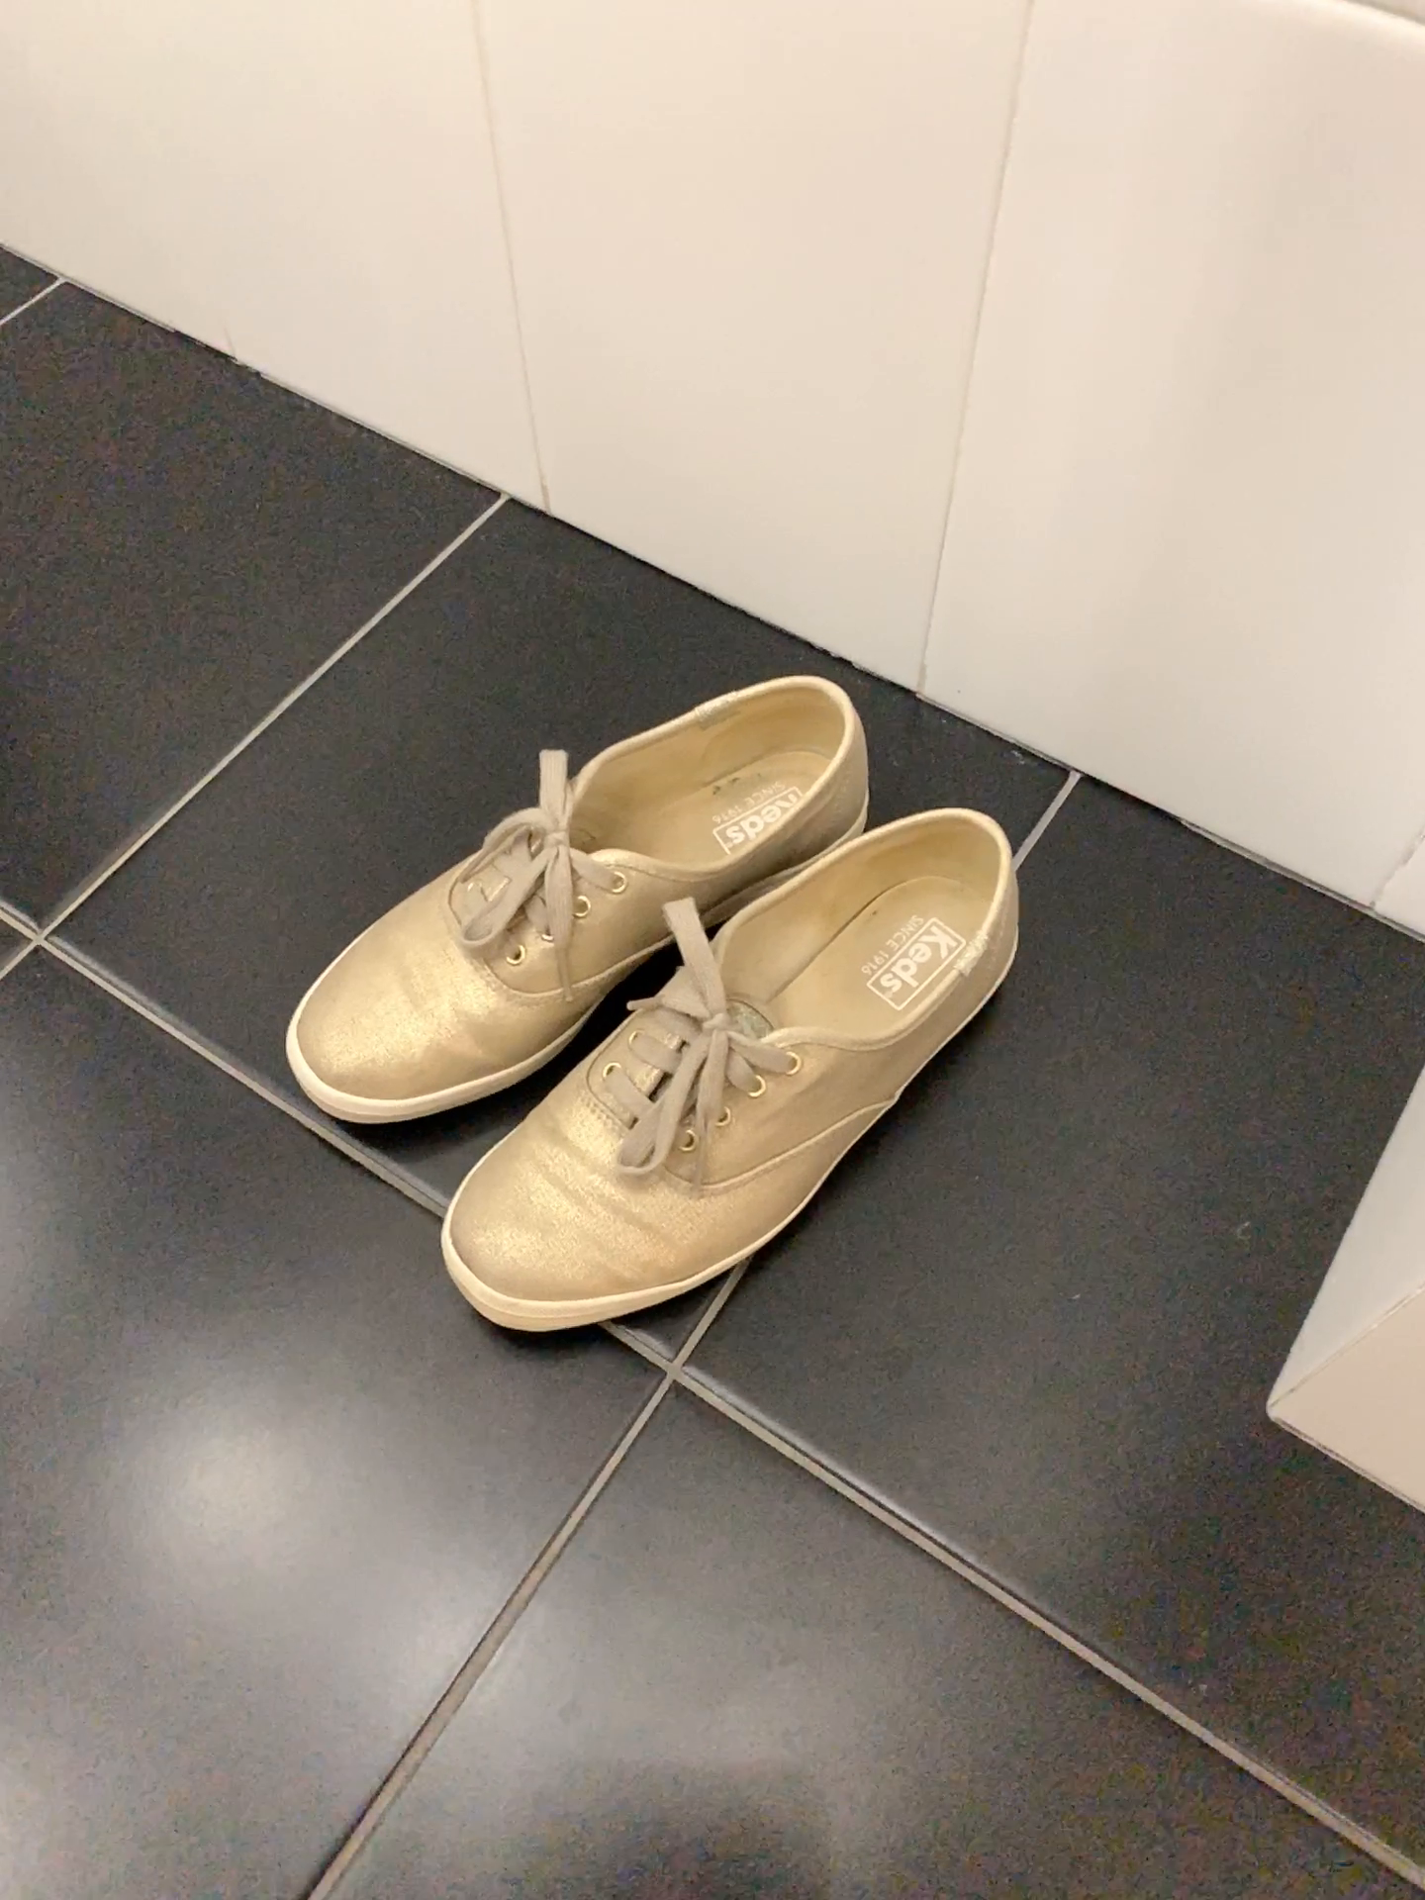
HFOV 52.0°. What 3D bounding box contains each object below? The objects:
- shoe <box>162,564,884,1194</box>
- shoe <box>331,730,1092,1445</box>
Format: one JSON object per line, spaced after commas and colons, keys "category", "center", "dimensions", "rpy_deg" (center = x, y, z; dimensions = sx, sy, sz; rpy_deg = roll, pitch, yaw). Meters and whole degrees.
{"category": "shoe", "center": [-0.059, -0.029, 0.533], "dimensions": [0.230, 0.100, 0.090], "rpy_deg": [-33, 64, -18]}
{"category": "shoe", "center": [0.005, 0.043, 0.491], "dimensions": [0.230, 0.100, 0.090], "rpy_deg": [-36, 65, -20]}
